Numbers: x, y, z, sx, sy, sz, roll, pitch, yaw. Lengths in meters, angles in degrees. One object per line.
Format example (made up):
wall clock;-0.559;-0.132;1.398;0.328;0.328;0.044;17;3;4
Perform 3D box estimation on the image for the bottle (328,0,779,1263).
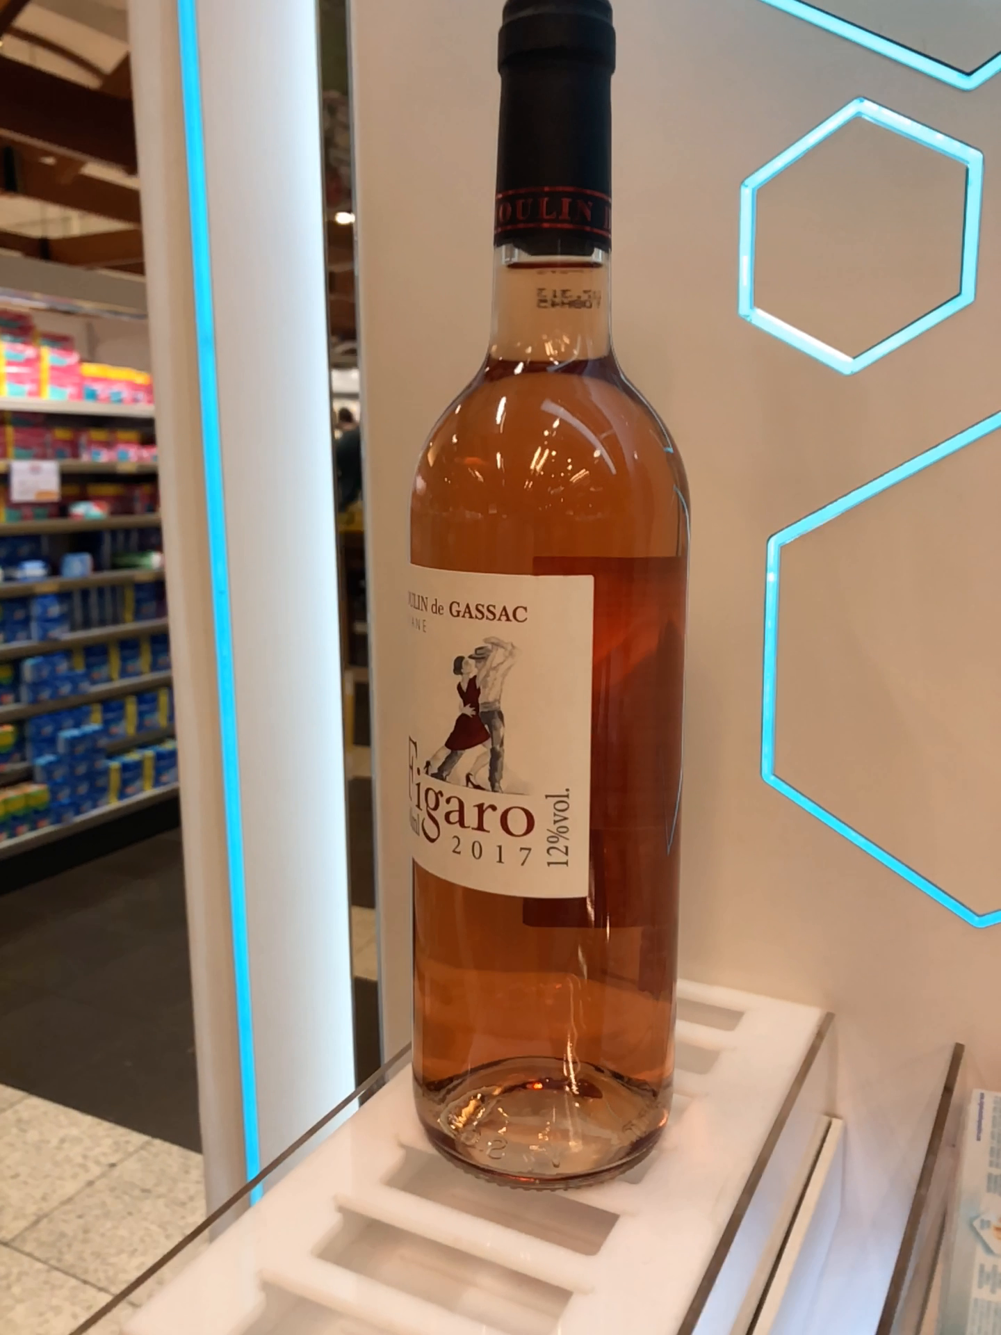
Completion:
bottle;0.012;-0.018;0.317;0.080;0.319;0.090;-7;10;-43
